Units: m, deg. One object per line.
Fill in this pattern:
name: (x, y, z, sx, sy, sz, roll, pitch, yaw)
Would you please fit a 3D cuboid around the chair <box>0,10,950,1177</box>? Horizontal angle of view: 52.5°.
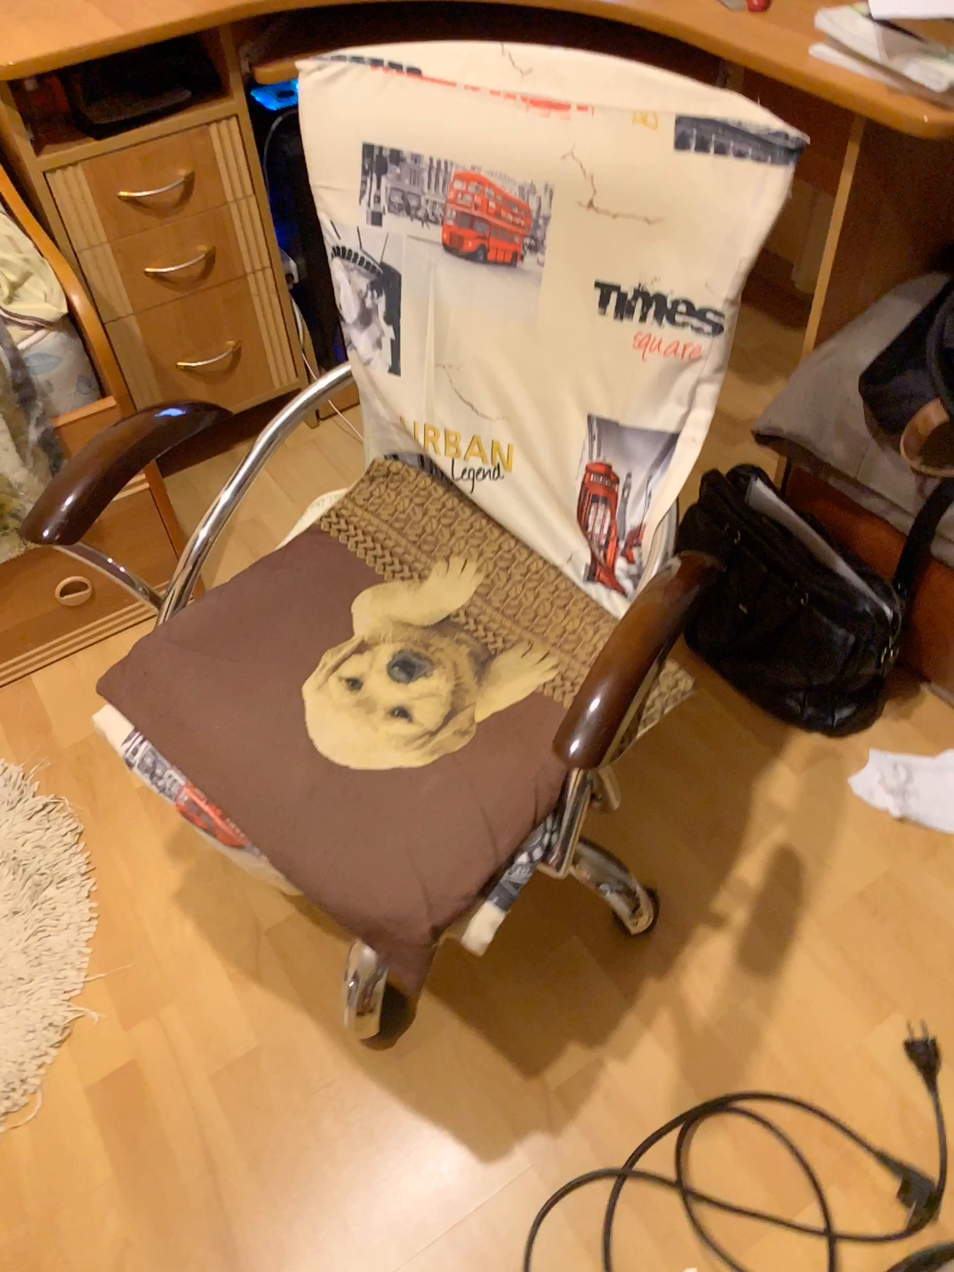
chair: (-0.022, -0.025, 0.815, 0.475, 0.665, 0.567, 22, 55, 20)
